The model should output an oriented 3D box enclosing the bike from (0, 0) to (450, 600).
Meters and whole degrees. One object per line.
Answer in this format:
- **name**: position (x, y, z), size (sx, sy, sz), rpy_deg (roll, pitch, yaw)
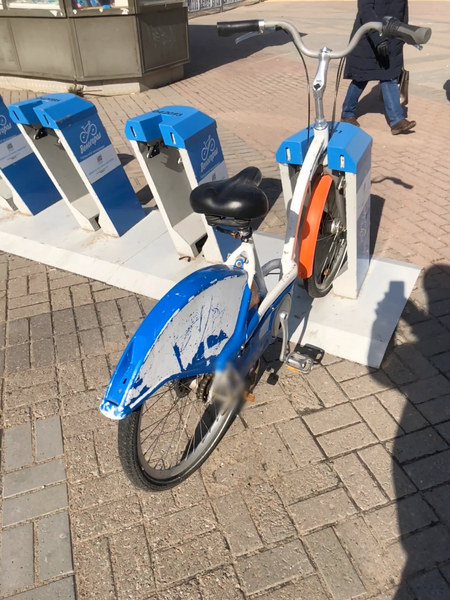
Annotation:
- **bike**: position (0.187, -0.276, 1.612), size (0.682, 1.233, 1.682), rpy_deg (17, 41, 26)
